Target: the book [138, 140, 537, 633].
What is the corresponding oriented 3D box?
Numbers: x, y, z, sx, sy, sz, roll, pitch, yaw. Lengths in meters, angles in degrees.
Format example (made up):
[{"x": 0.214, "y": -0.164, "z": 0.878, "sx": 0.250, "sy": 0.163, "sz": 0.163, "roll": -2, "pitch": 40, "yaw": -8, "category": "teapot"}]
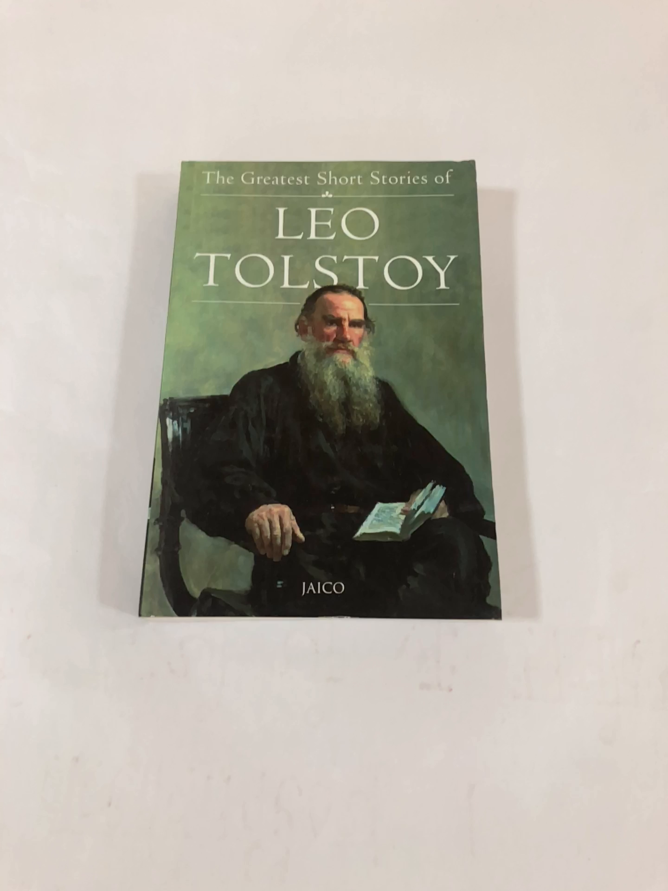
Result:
[{"x": 0.002, "y": -0.036, "z": 0.330, "sx": 0.150, "sy": 0.020, "sz": 0.230, "roll": 0, "pitch": 69, "yaw": -1, "category": "book"}]
